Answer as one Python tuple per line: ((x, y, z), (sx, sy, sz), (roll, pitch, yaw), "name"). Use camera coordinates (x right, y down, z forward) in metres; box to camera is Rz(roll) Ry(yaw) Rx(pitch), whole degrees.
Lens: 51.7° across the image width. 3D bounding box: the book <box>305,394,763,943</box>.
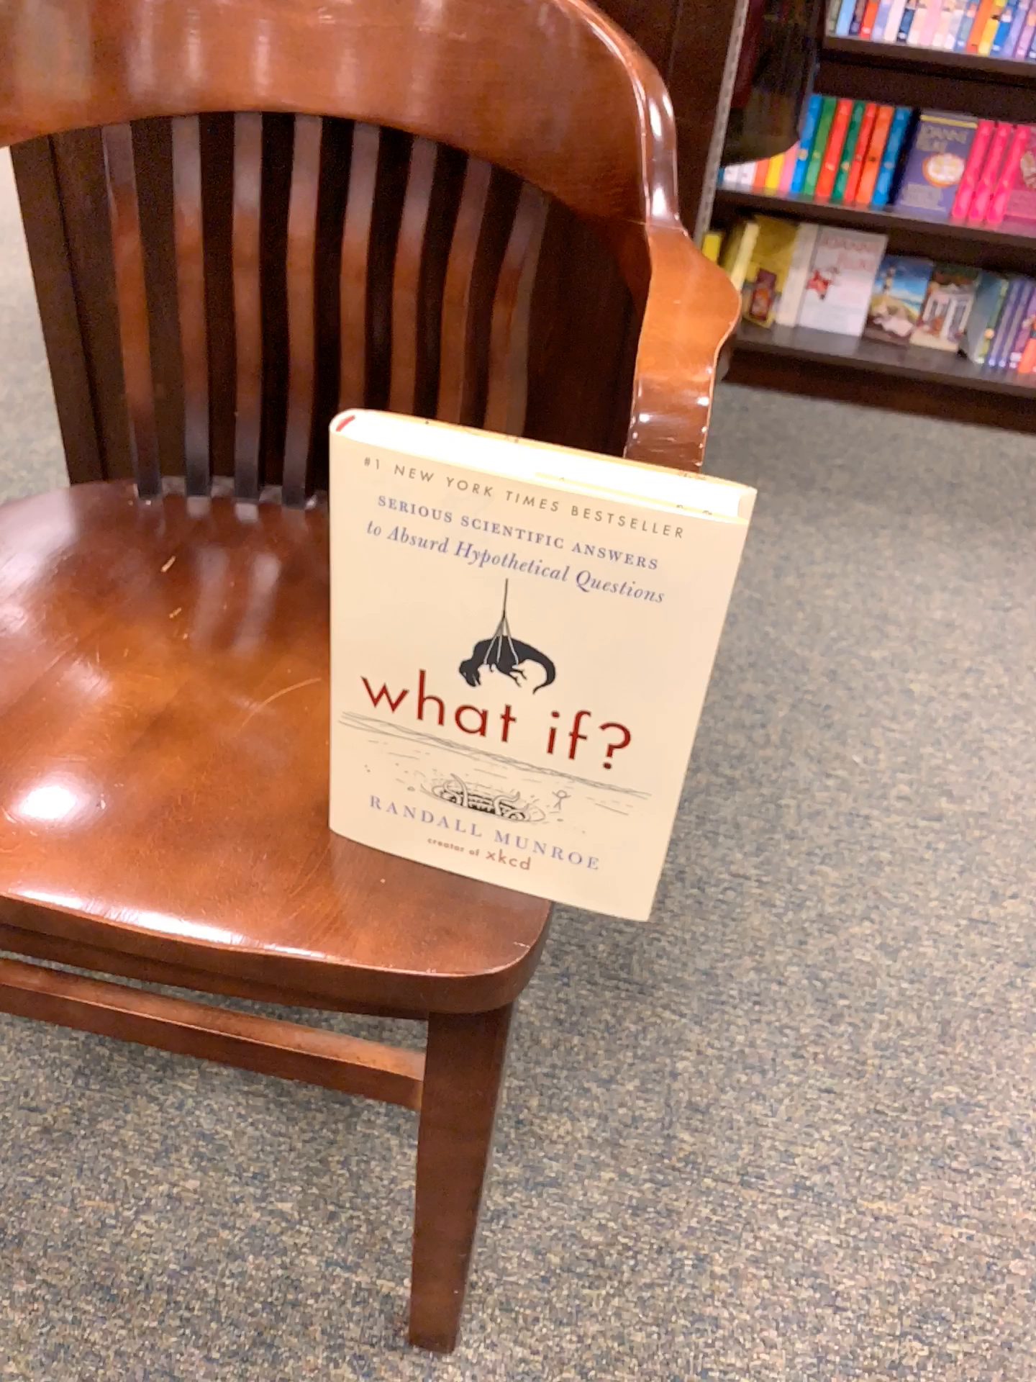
((-0.004, -0.002, 0.518), (0.188, 0.239, 0.050), (13, 35, 9), "book")
